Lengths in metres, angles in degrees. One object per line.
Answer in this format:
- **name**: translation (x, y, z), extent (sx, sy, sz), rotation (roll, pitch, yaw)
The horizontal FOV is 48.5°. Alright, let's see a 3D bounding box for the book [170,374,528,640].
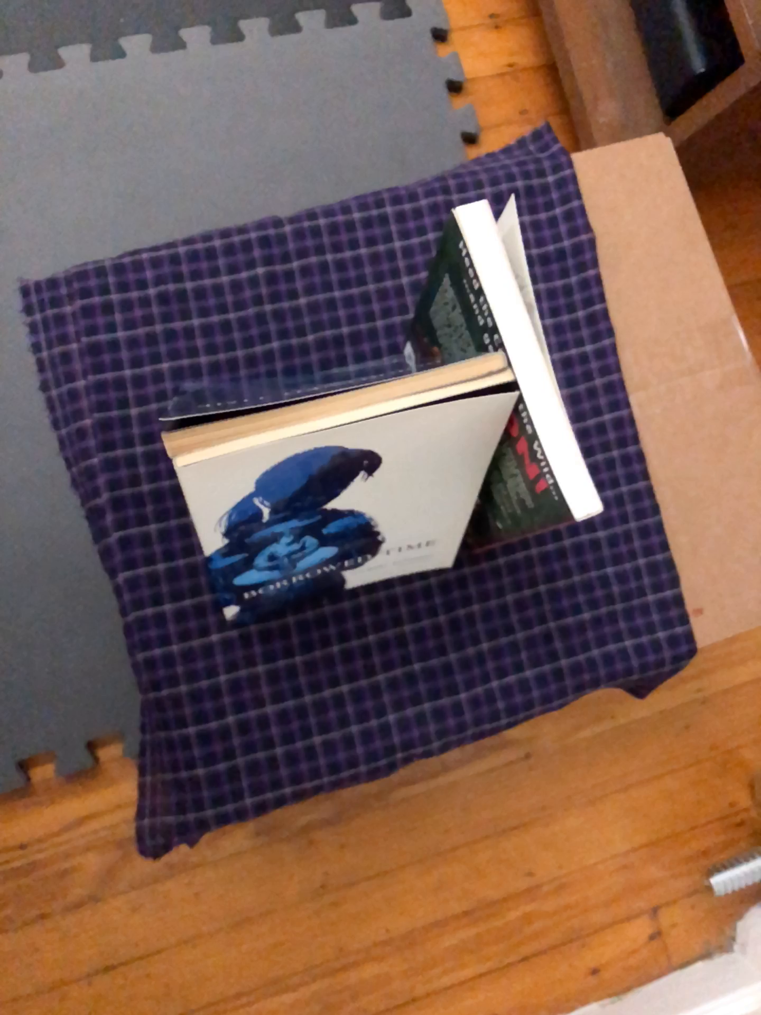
- **book**: translation (-0.016, 0.011, 0.412), extent (0.140, 0.200, 0.010), rotation (-15, 67, -11)

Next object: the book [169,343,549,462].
- **book**: translation (-0.025, -0.060, 0.423), extent (0.150, 0.200, 0.010), rotation (-12, 105, -9)

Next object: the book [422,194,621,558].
- **book**: translation (0.060, -0.048, 0.427), extent (0.020, 0.190, 0.140), rotation (-17, 86, -3)
